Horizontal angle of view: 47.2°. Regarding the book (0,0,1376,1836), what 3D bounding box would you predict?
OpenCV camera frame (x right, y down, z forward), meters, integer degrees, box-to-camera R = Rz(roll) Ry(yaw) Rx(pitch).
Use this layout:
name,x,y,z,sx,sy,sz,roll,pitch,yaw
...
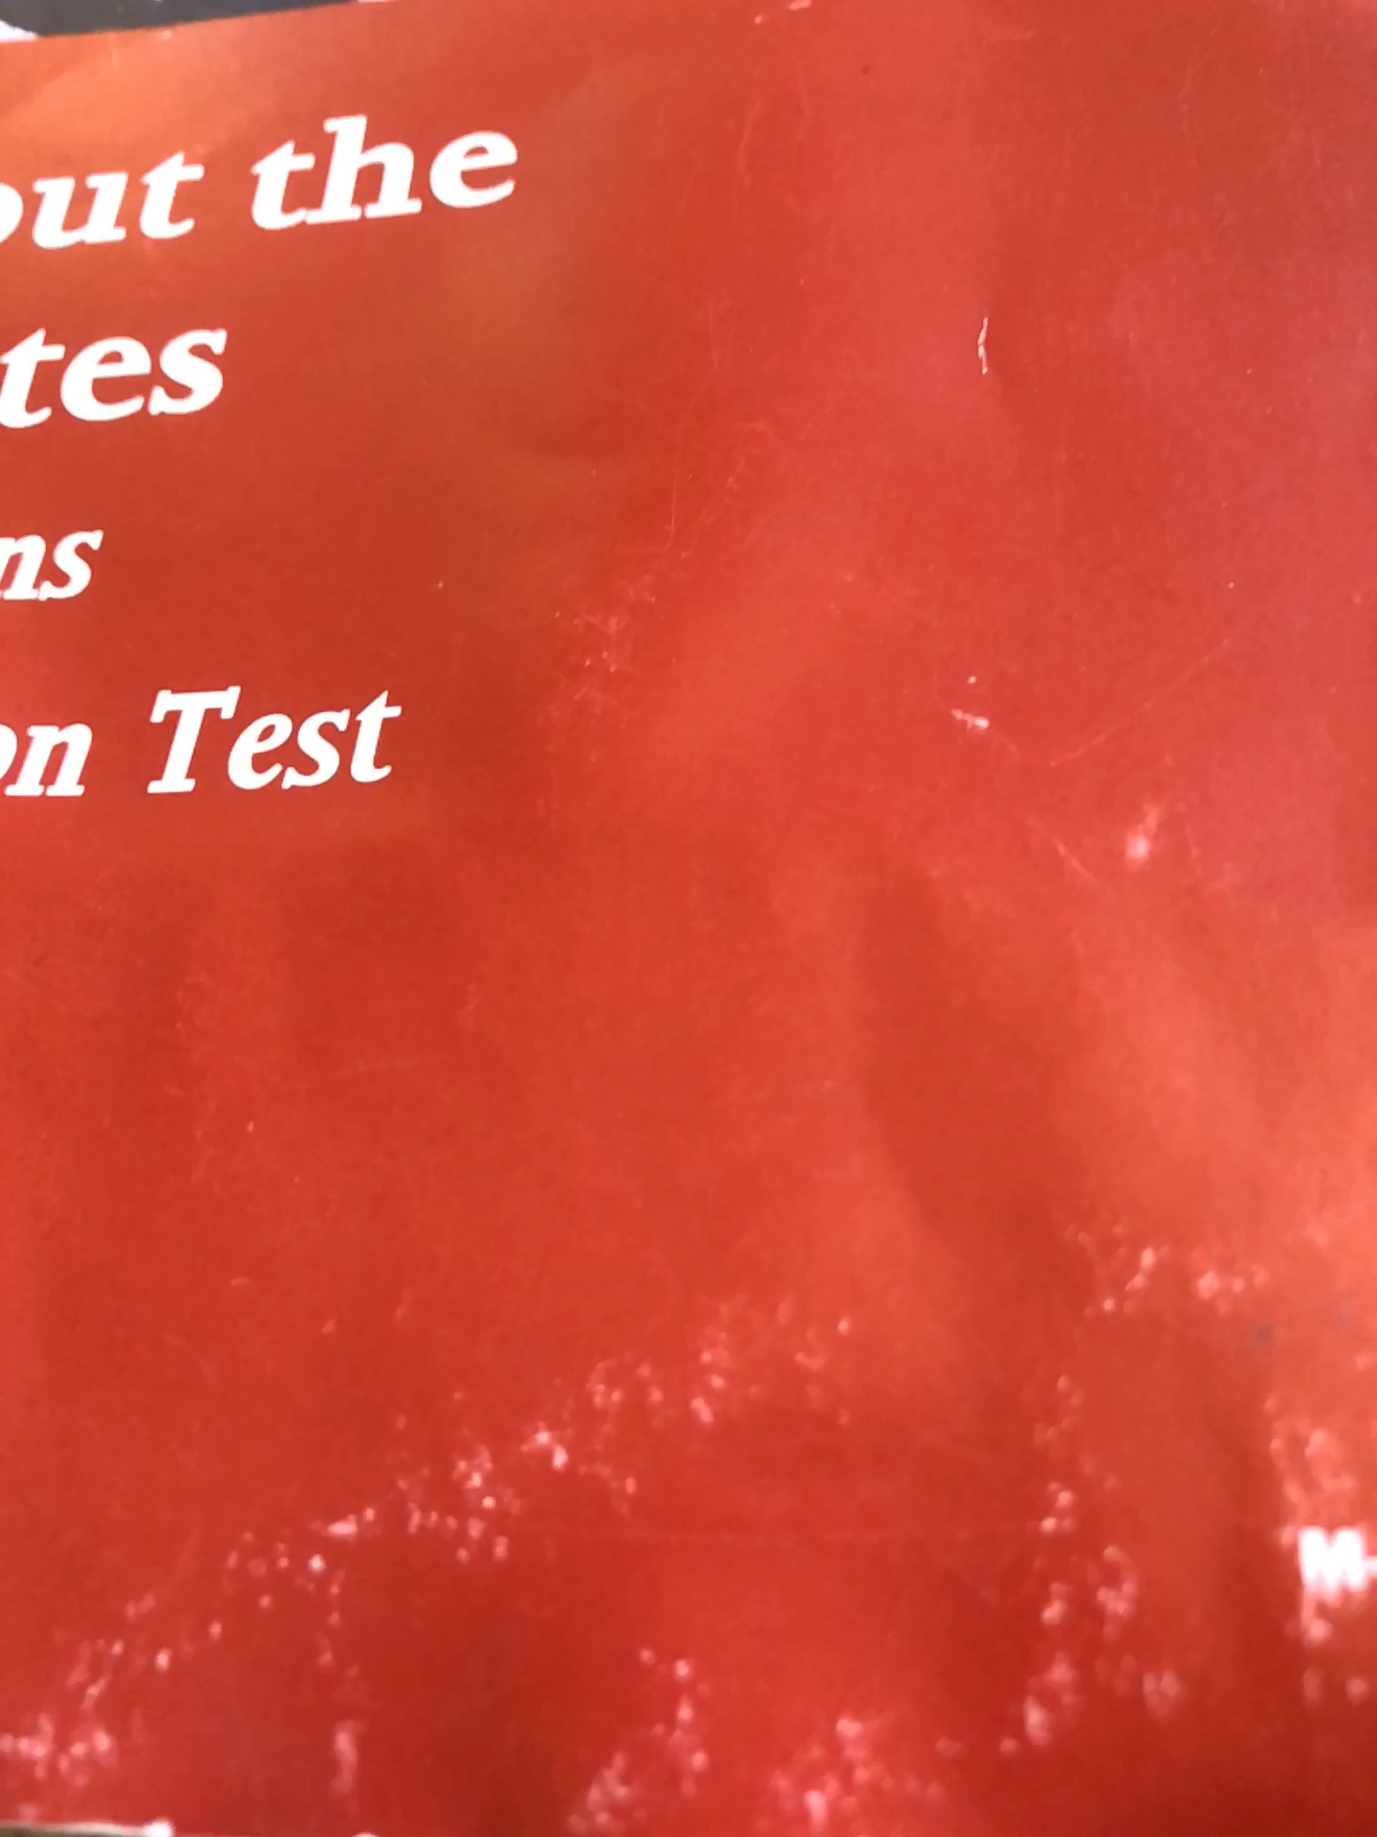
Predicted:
name,x,y,z,sx,sy,sz,roll,pitch,yaw
book,-0.029,-0.073,0.147,0.208,0.028,0.274,-1,63,8
